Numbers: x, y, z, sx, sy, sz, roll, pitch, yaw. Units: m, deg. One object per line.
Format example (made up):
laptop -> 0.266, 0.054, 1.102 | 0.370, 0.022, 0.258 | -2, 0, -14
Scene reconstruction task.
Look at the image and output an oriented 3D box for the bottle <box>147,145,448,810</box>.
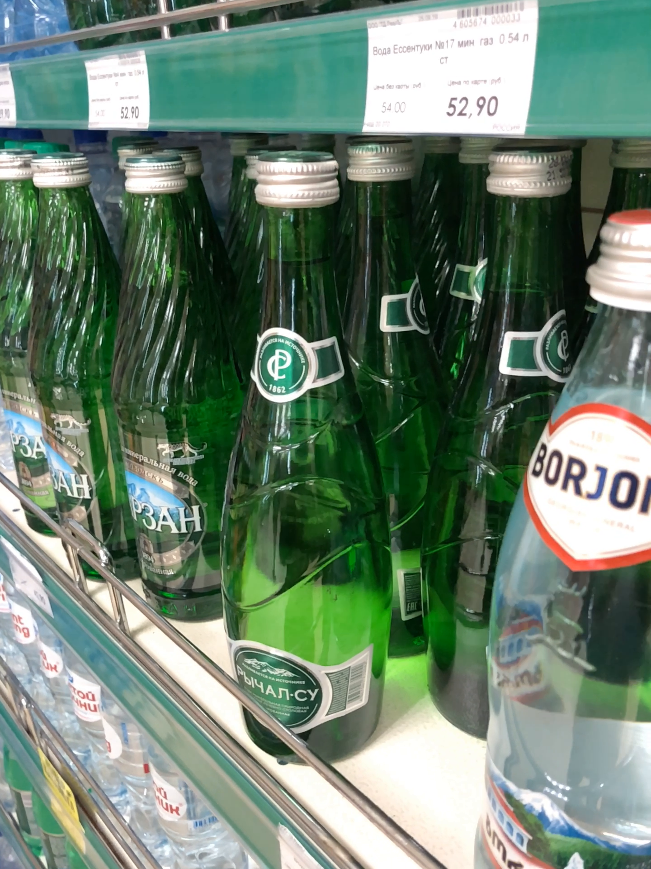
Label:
bottle -> -0.003, 0.022, 0.299 | 0.080, 0.259, 0.070 | 9, 26, 23
